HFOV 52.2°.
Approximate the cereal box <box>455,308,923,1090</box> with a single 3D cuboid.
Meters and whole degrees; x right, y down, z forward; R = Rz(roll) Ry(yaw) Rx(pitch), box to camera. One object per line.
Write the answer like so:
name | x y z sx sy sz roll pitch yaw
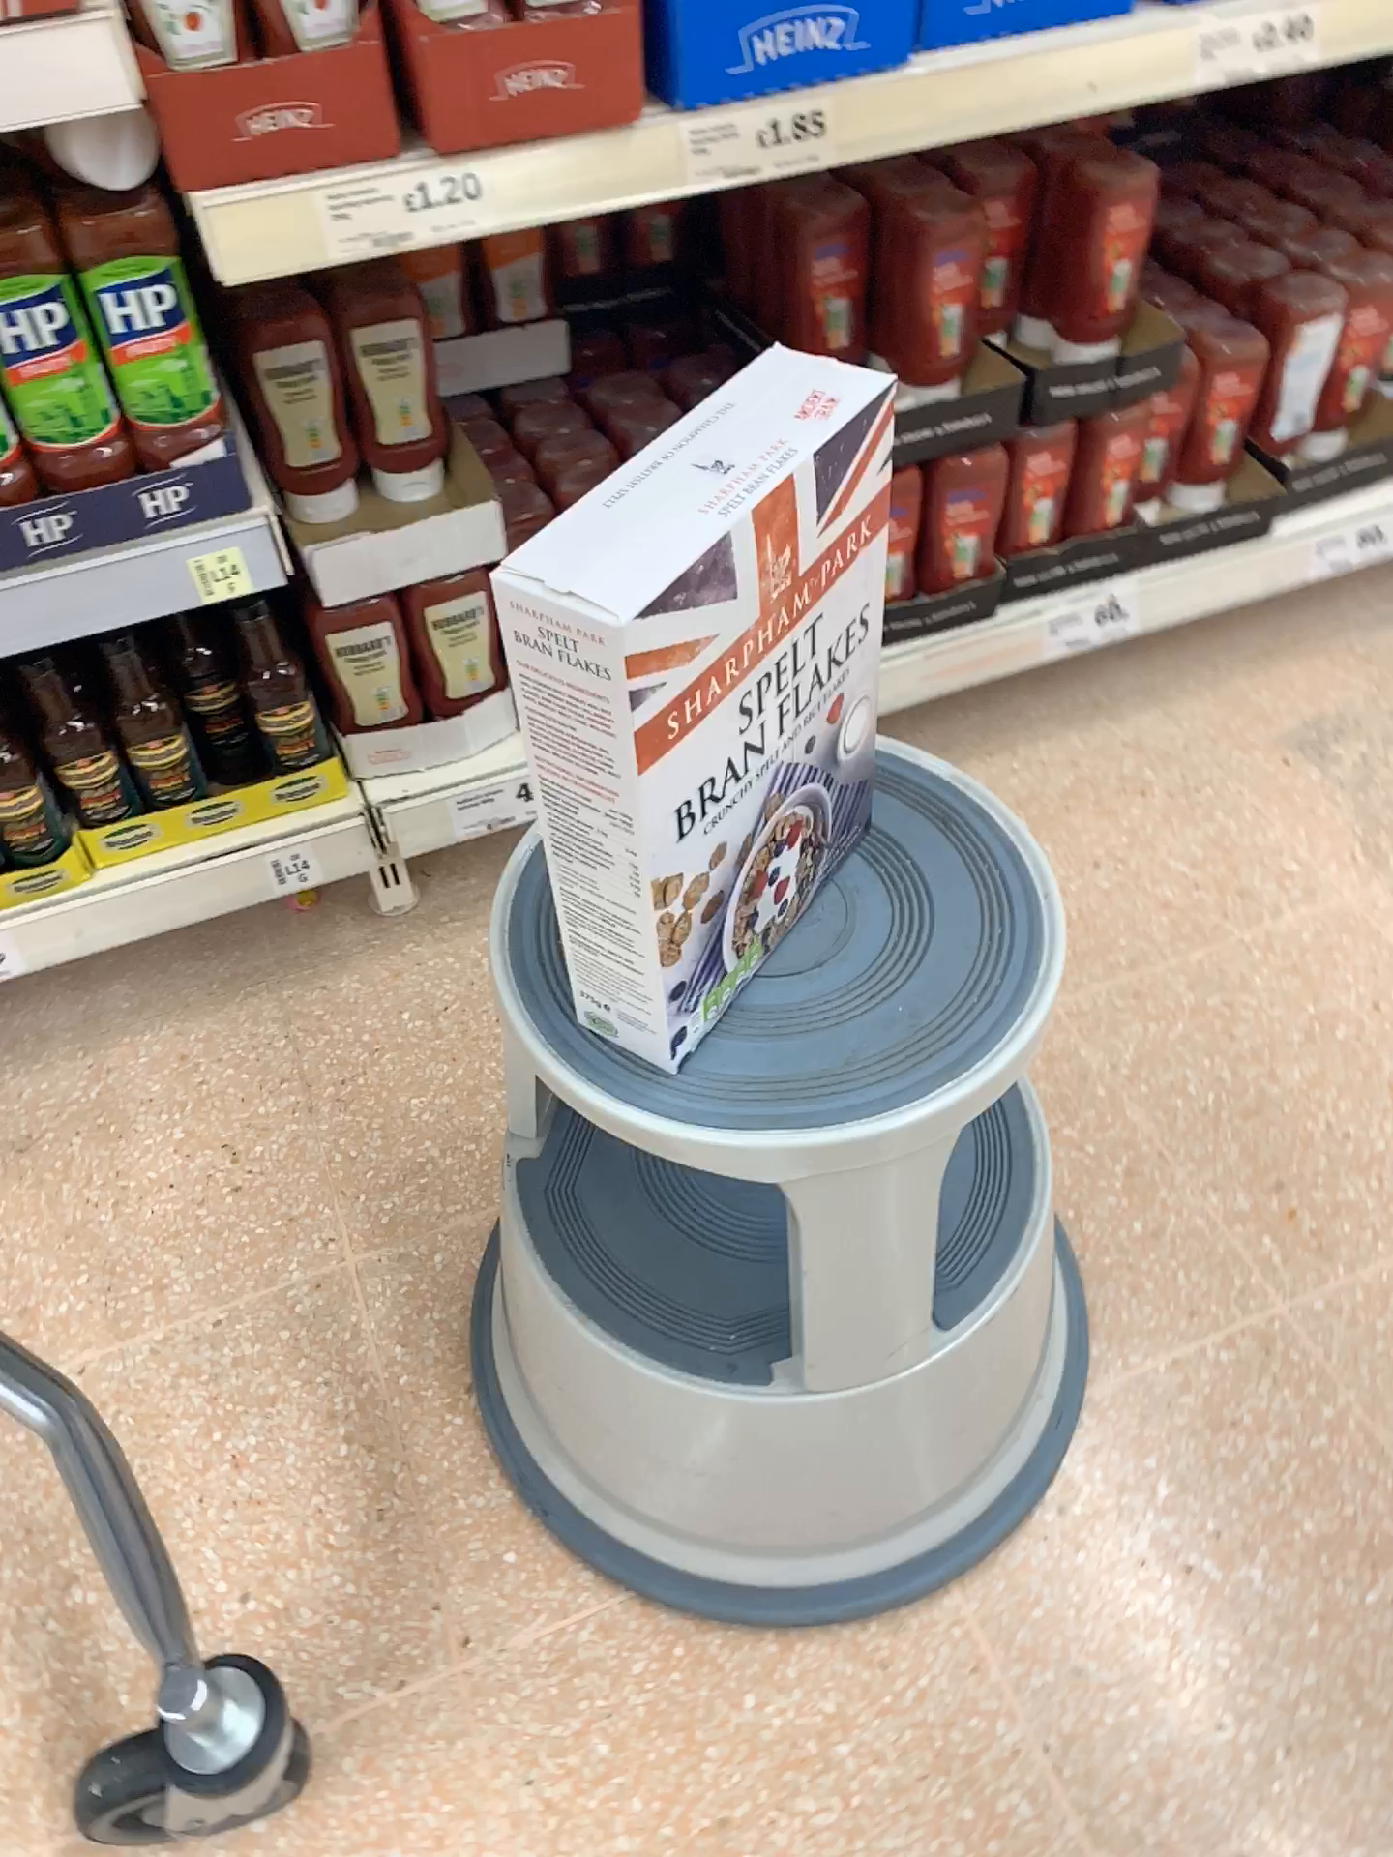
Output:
cereal box | 0.010 -0.092 0.612 0.070 0.258 0.201 25 53 24
